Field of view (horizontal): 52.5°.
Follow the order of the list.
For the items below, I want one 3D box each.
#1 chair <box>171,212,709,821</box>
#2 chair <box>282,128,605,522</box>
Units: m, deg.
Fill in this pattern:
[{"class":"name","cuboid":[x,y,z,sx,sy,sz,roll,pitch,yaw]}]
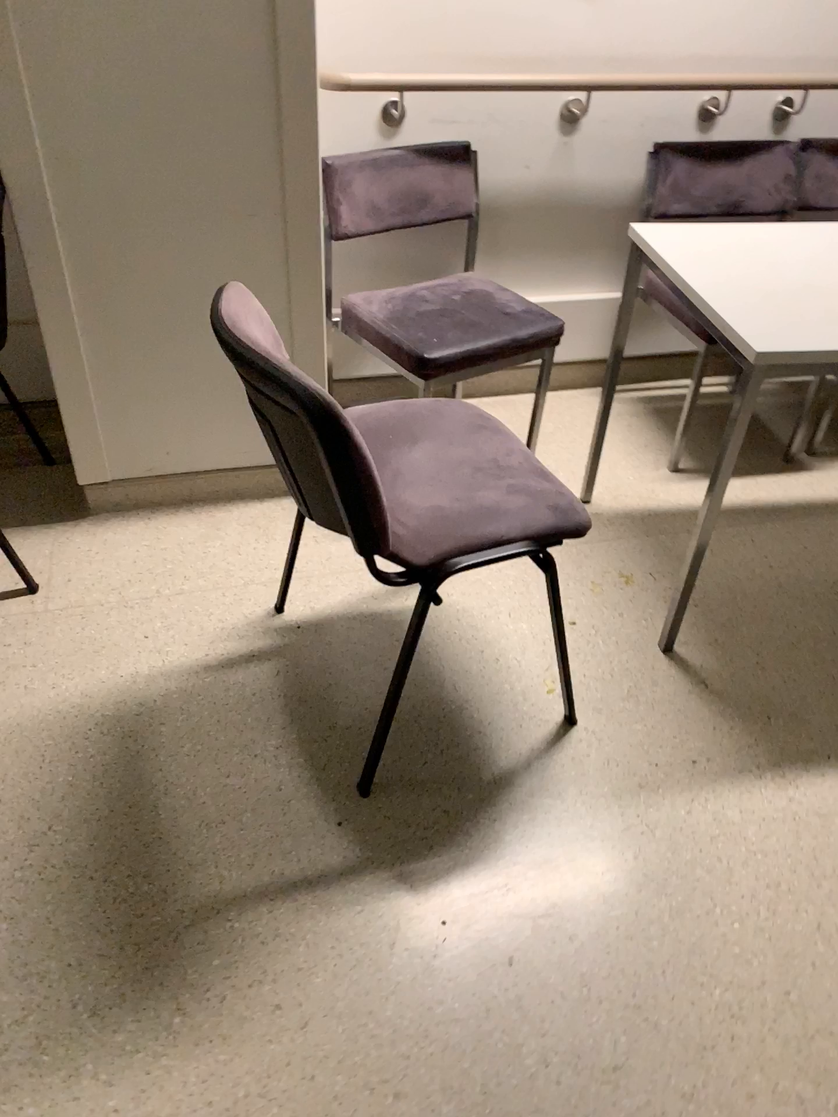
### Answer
[{"class":"chair","cuboid":[-0.021,-0.102,1.491,0.601,0.753,0.605,-13,42,-20]},{"class":"chair","cuboid":[0.026,-0.604,2.143,0.501,0.723,0.564,-21,45,-27]}]
